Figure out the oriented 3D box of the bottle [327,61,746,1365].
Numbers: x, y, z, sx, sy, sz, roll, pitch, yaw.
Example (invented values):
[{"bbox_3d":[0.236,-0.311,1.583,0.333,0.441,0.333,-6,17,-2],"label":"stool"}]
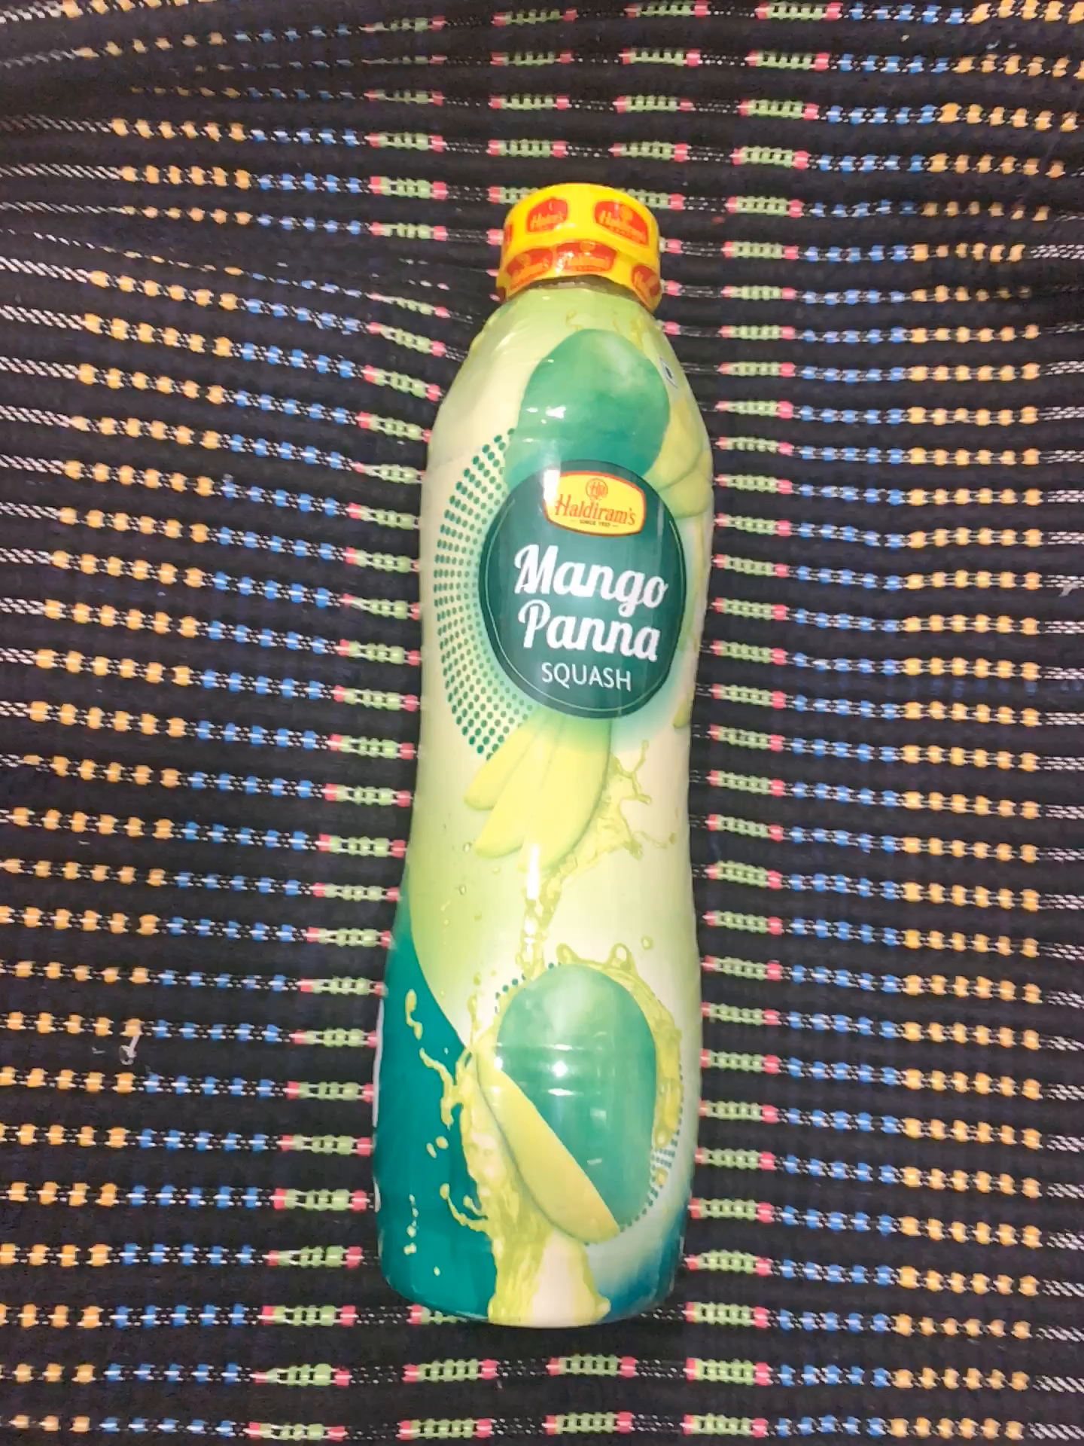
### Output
[{"bbox_3d":[0.001,-0.010,0.259,0.070,0.050,0.270,7,78,-14],"label":"bottle"}]
